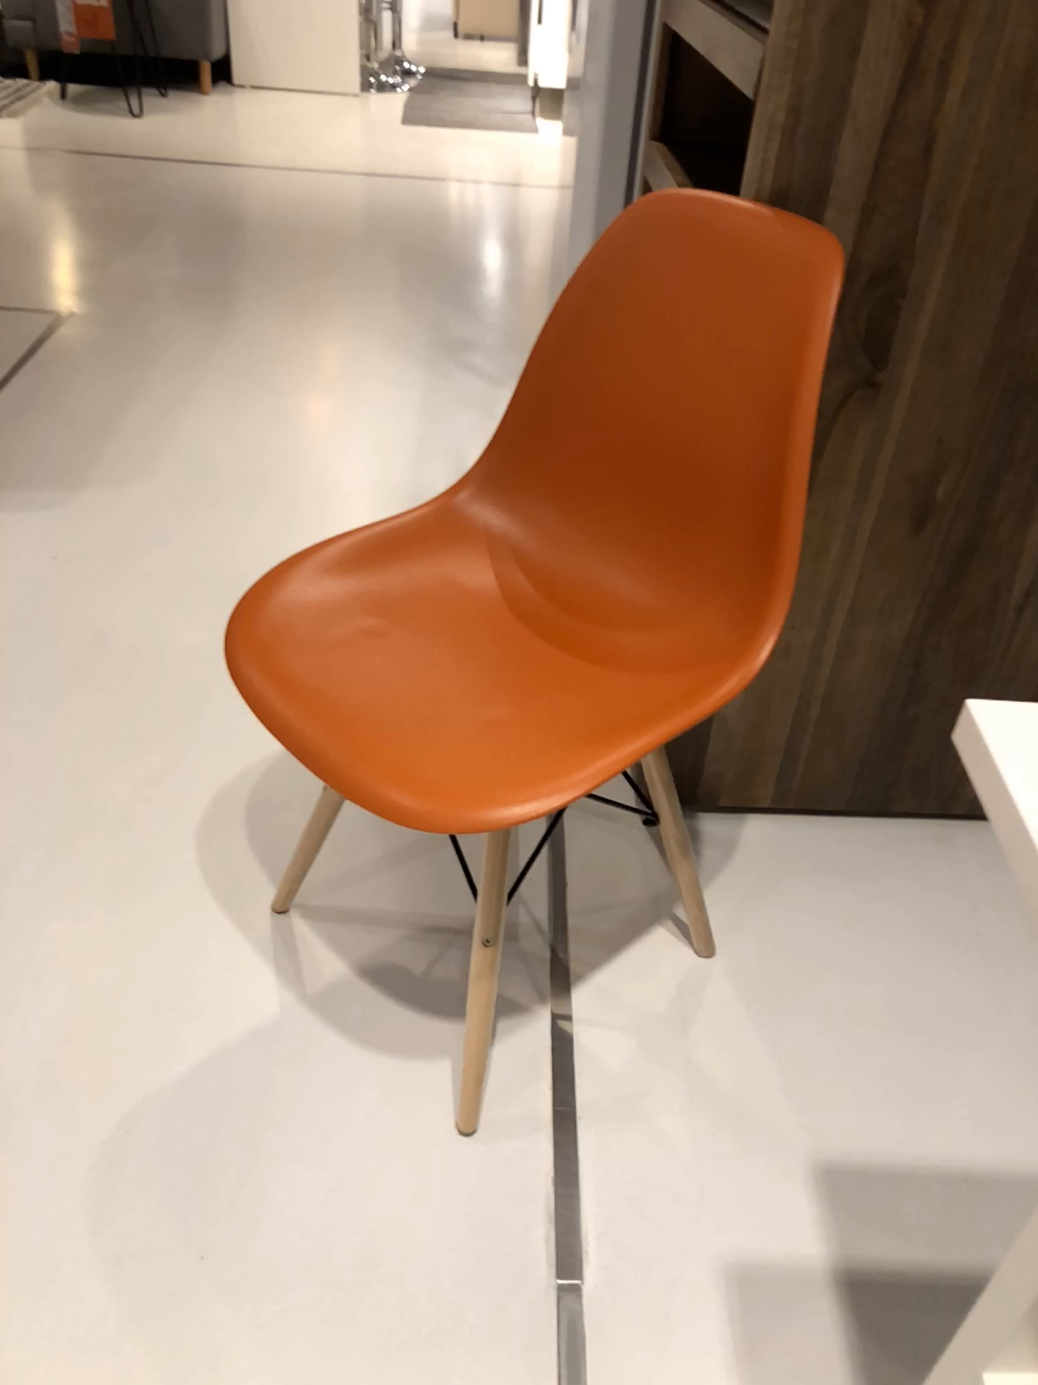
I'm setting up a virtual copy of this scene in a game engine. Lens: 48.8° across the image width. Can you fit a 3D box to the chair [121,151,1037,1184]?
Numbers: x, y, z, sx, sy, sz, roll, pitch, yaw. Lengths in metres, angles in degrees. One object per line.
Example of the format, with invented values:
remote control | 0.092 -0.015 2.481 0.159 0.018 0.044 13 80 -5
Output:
chair | 0.037 -0.061 1.152 0.582 0.744 0.492 -25 46 -33
